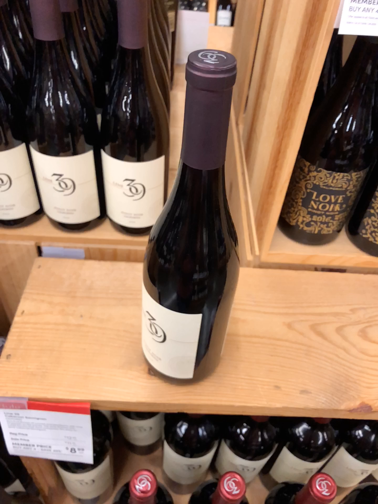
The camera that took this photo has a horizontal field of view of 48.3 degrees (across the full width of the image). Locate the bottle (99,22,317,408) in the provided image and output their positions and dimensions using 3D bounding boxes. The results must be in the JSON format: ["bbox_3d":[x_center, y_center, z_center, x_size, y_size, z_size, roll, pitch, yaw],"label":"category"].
[{"bbox_3d":[0.000,0.000,0.316,0.080,0.283,0.080,3,45,-3],"label":"bottle"}]
